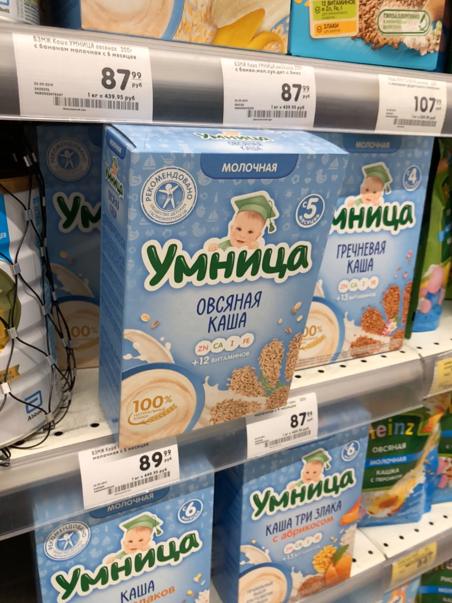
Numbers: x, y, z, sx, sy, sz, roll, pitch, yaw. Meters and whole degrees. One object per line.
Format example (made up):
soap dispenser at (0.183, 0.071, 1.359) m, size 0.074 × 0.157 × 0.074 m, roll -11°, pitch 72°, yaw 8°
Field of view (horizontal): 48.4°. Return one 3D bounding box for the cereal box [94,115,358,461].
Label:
cereal box at (-0.011, -0.007, 0.341) m, size 0.140 × 0.209 × 0.060 m, roll -7°, pitch 32°, yaw -27°
